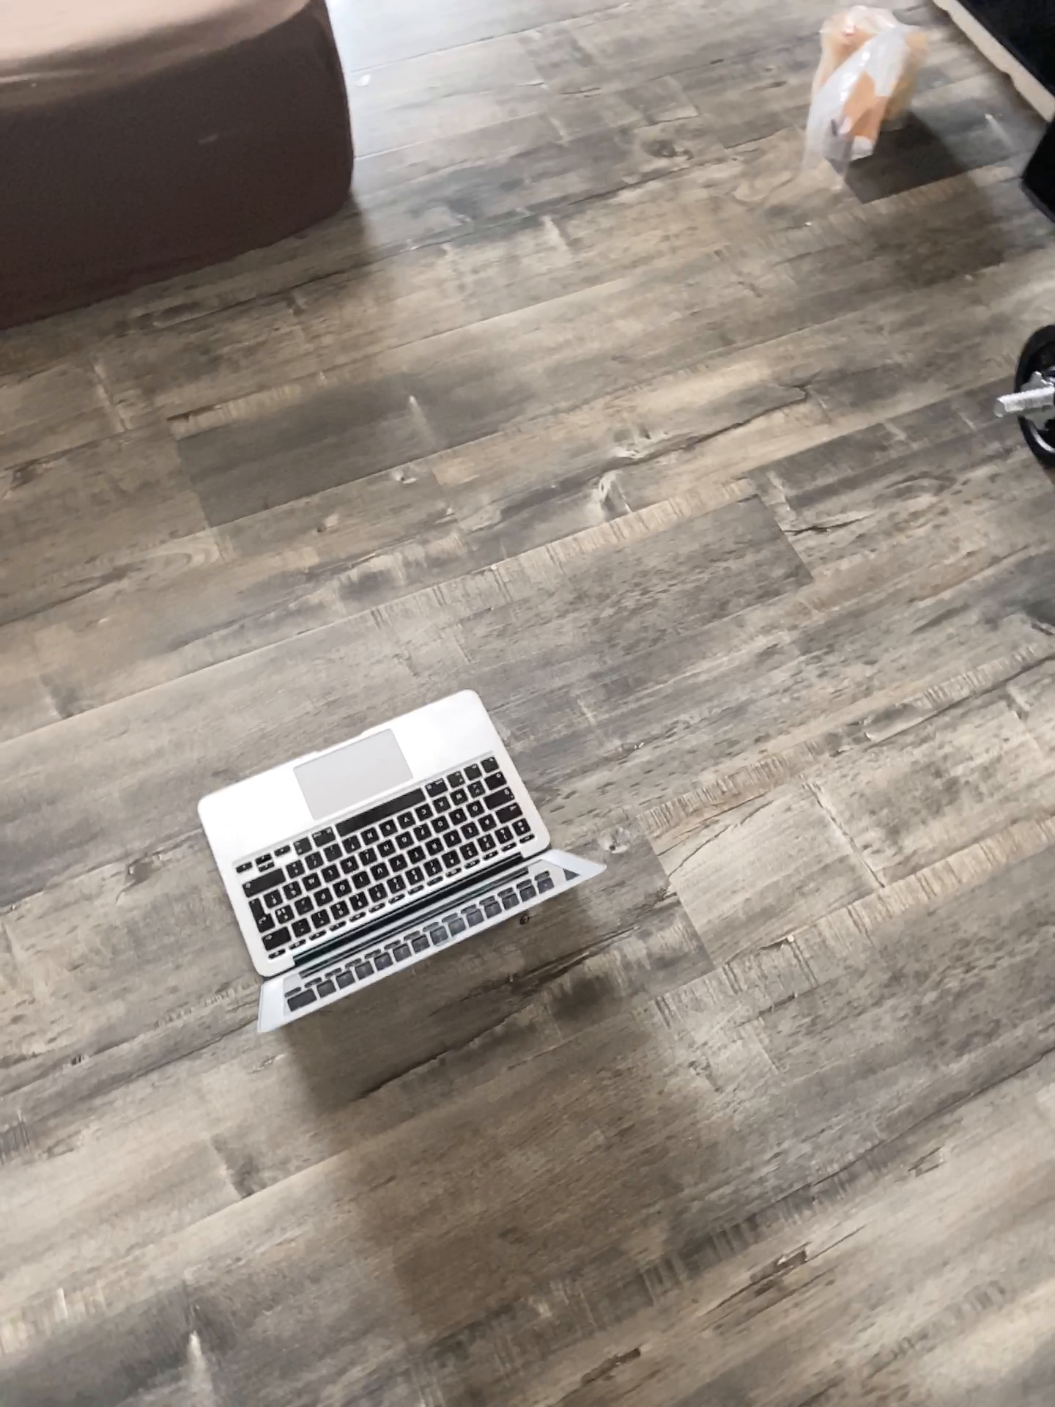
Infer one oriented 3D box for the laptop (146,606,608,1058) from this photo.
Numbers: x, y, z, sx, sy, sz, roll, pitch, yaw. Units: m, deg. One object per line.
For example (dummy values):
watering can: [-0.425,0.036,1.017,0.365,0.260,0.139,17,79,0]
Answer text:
laptop: [-0.126,0.110,0.929,0.290,0.159,0.255,-23,69,-13]
